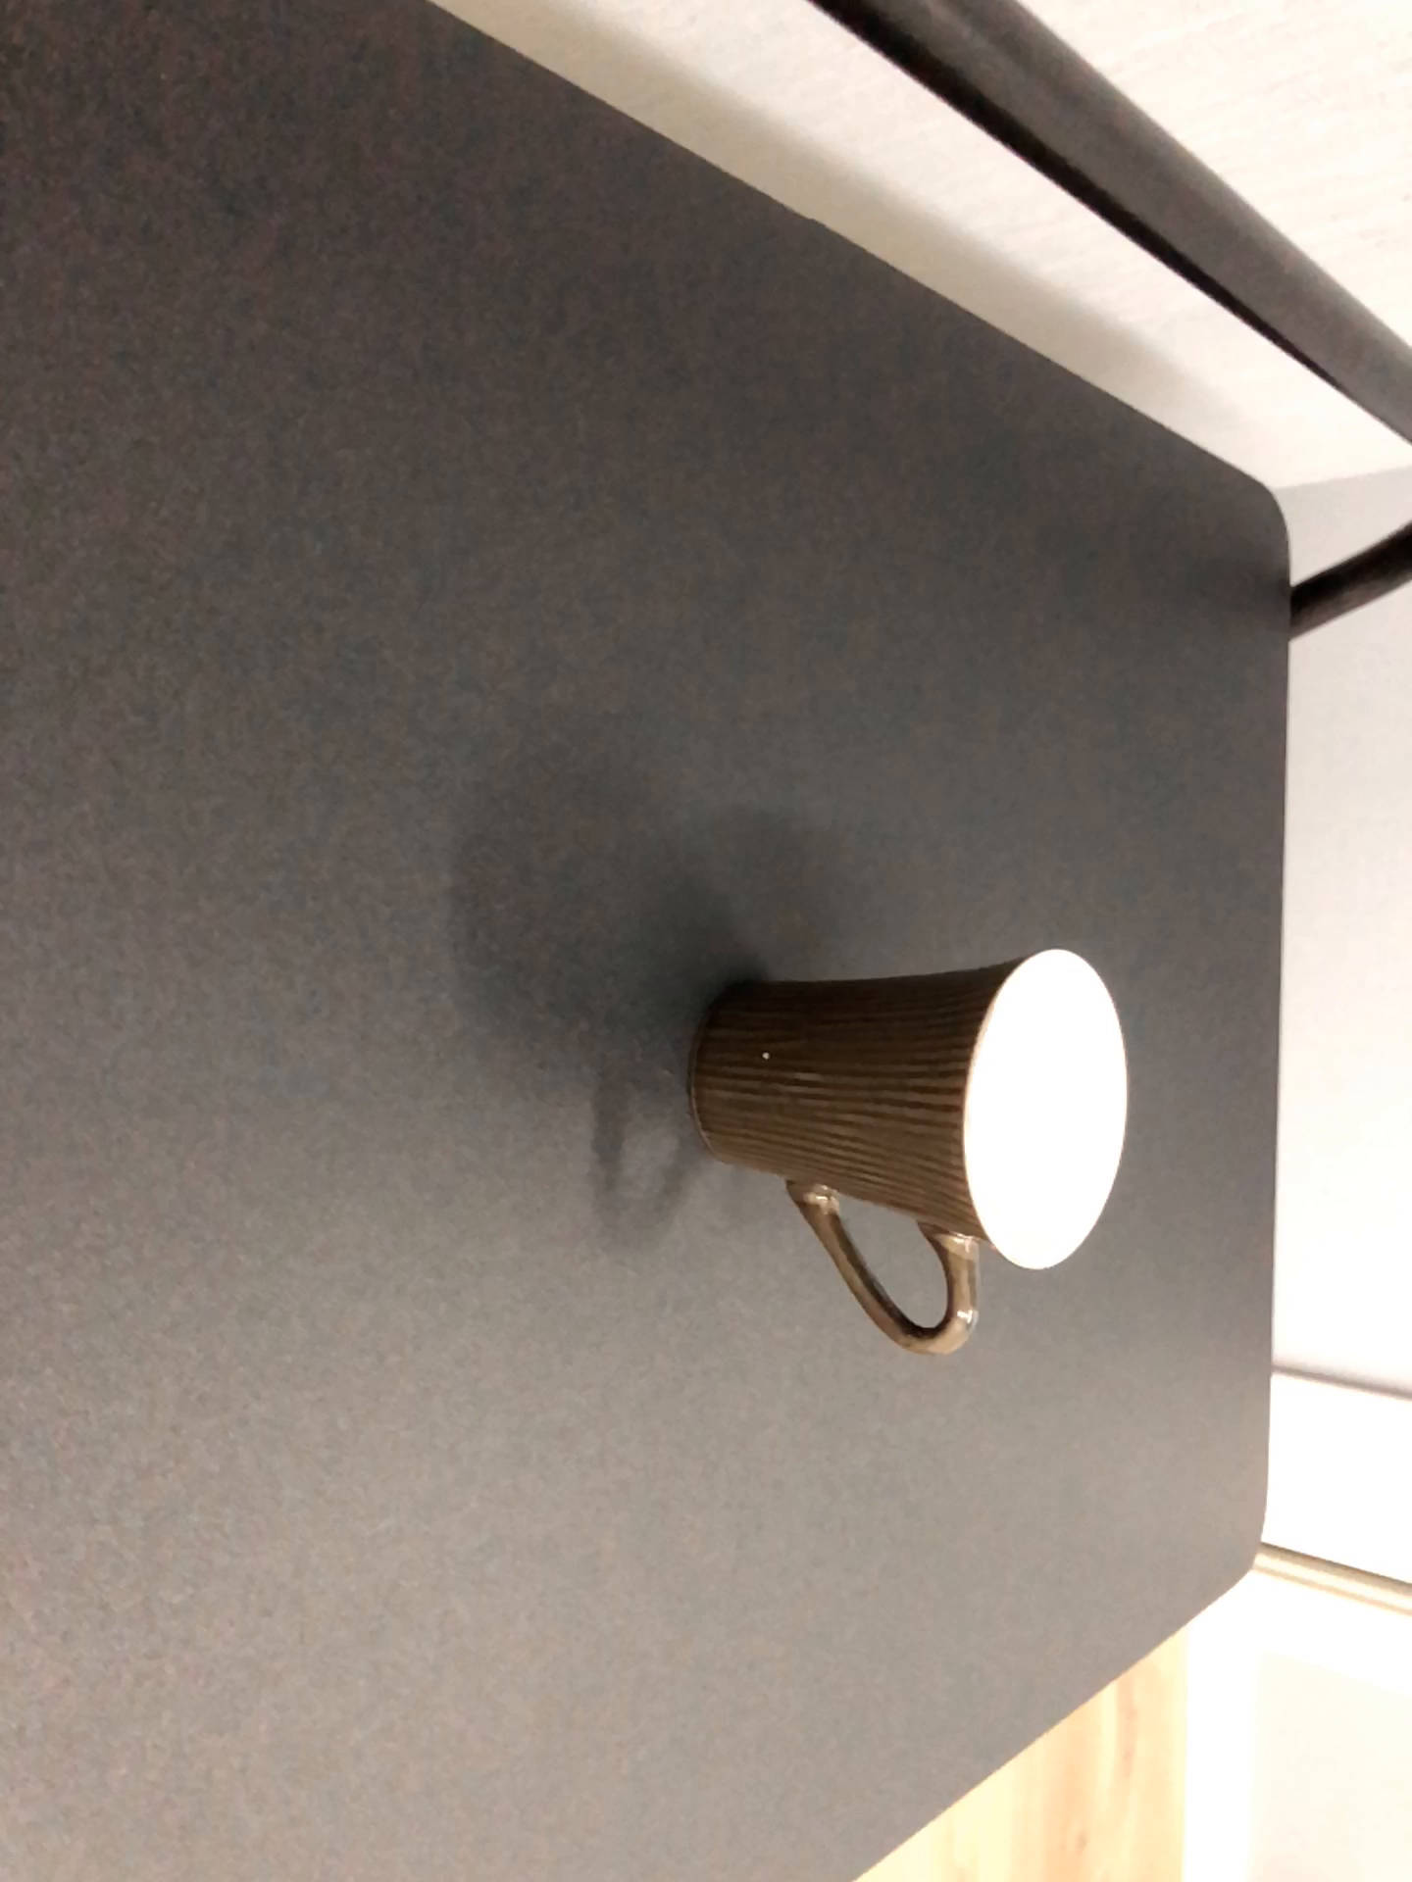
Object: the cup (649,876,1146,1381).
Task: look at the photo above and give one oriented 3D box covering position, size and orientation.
[{"bbox_3d":[0.041,0.036,0.324,0.066,0.069,0.089,12,82,-49],"label":"cup"}]
